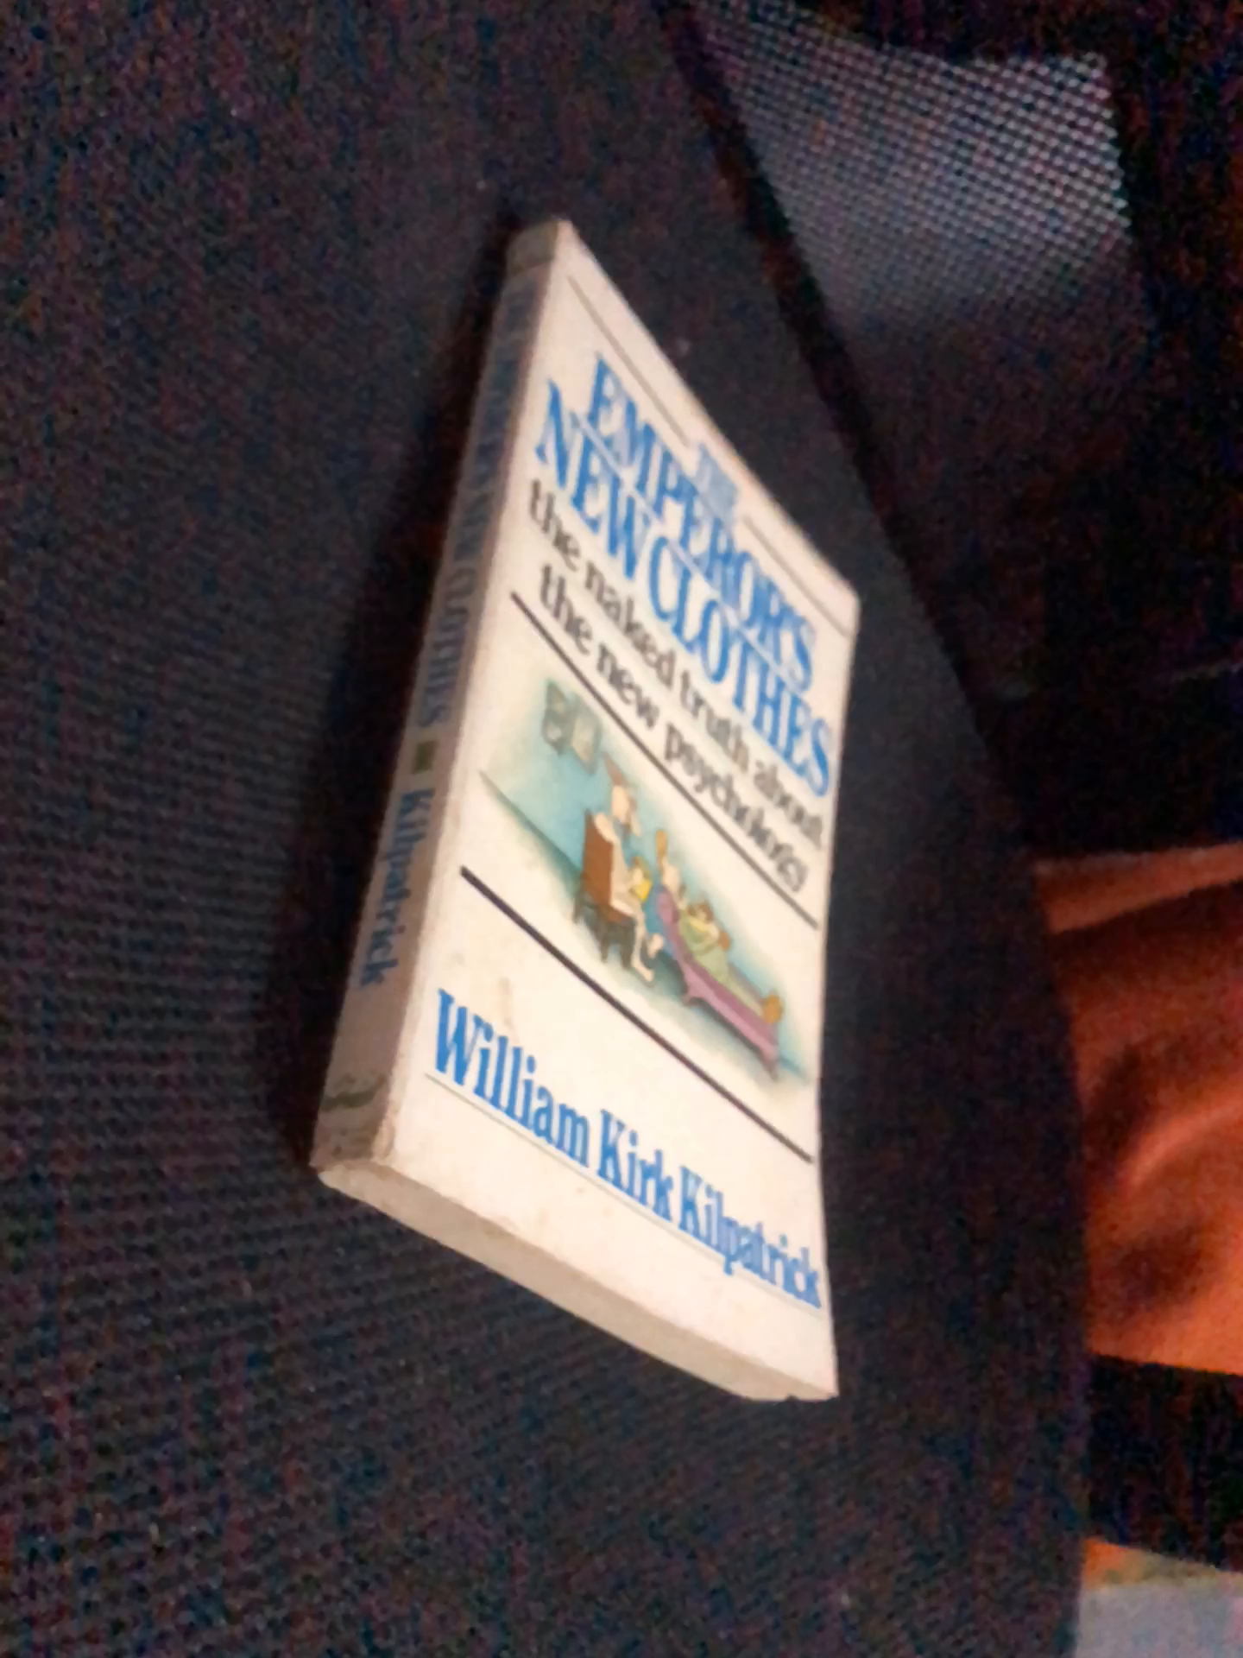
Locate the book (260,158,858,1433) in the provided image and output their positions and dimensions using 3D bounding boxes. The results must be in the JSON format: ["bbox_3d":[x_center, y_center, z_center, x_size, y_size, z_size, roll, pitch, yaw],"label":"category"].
[{"bbox_3d":[0.010,-0.012,0.294,0.145,0.020,0.230,44,41,-42],"label":"book"}]
